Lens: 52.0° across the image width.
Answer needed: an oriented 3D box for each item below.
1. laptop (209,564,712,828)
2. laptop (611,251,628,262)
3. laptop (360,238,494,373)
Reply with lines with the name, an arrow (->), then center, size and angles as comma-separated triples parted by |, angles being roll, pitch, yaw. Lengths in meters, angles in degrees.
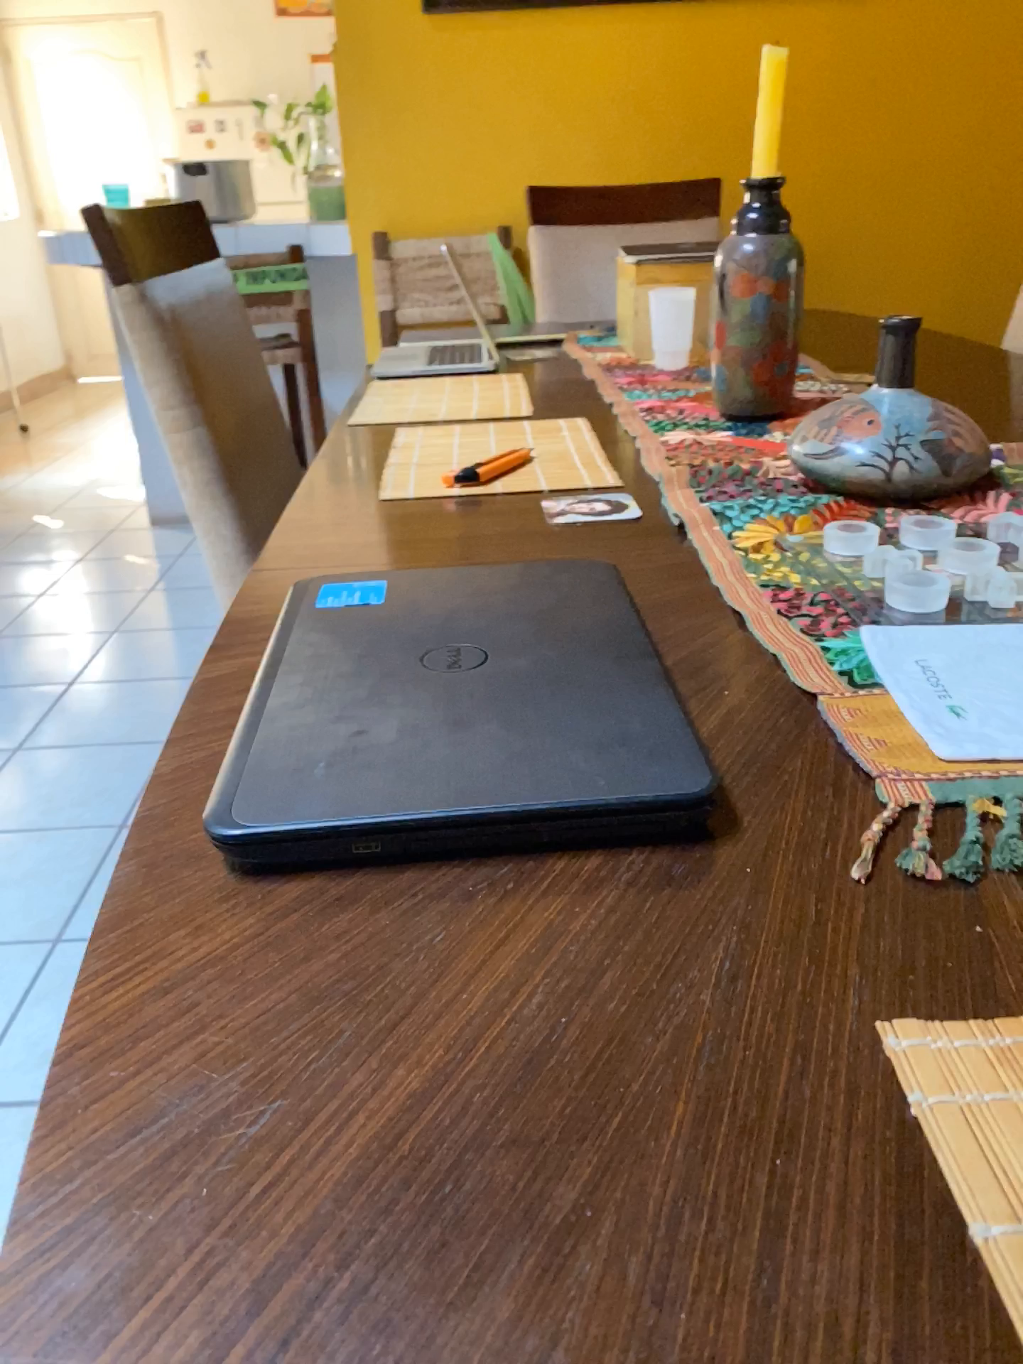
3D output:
laptop -> -0.037, -0.012, 0.675 | 0.248, 0.001, 0.354 | -4, 25, -3
laptop -> 0.193, -0.765, 1.884 | 0.002, 0.003, 0.281 | -30, 22, 12
laptop -> -0.149, -0.706, 1.948 | 0.216, 0.194, 0.320 | -4, 25, 1
